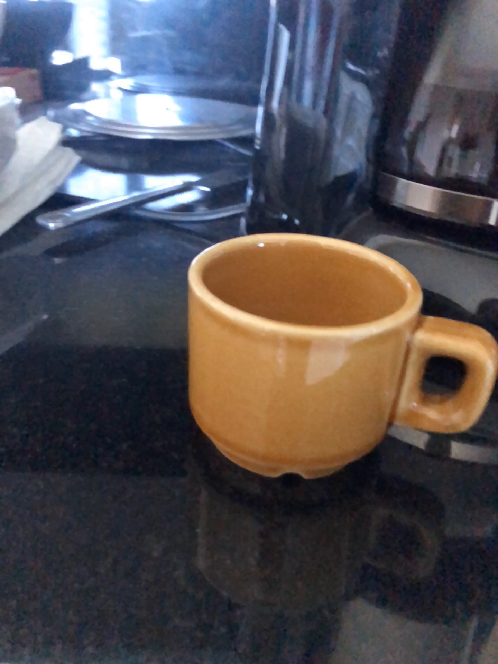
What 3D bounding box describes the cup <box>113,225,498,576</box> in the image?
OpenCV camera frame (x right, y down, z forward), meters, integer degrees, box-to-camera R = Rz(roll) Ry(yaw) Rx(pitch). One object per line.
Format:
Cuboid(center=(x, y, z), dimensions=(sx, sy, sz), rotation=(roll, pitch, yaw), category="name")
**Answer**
Cuboid(center=(0.025, 0.010, 0.163), dimensions=(0.100, 0.050, 0.070), rotation=(12, 31, 16), category="cup")
